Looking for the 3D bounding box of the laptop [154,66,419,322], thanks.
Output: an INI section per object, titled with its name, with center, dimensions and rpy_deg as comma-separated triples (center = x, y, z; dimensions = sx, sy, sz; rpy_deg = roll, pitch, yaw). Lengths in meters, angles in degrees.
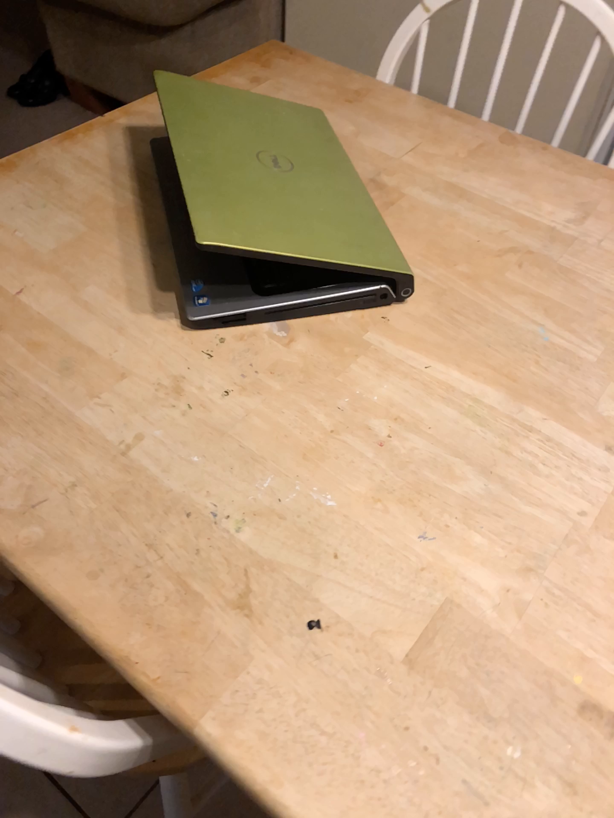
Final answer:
[laptop]
center = -0.043, -0.268, 0.776
dimensions = 0.227, 0.076, 0.360
rpy_deg = -10, 50, -9
